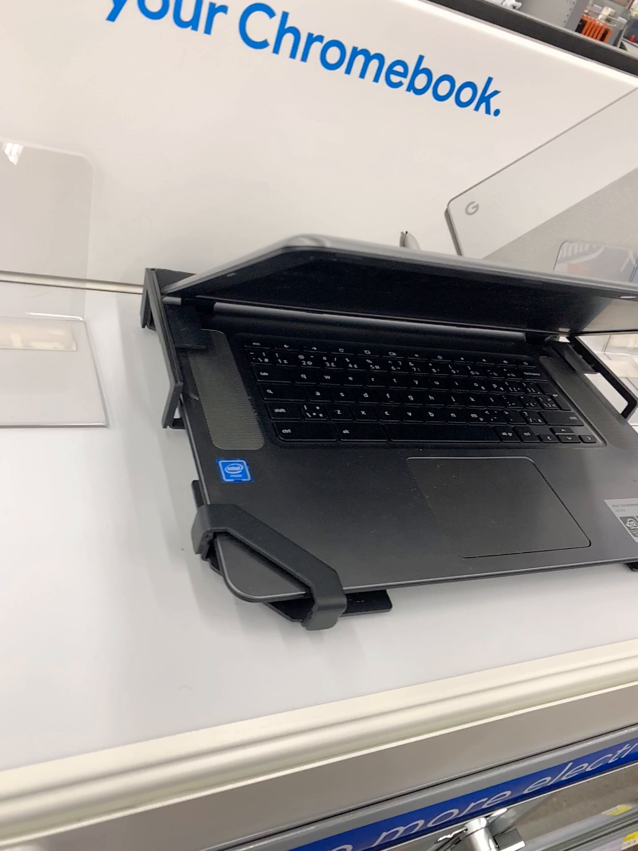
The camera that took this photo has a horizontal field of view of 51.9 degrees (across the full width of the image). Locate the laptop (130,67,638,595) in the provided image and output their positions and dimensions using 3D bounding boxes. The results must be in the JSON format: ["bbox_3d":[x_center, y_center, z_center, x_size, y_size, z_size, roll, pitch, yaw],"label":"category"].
[{"bbox_3d":[0.079,-0.048,0.331,0.303,0.119,0.198,1,42,-26],"label":"laptop"}]
